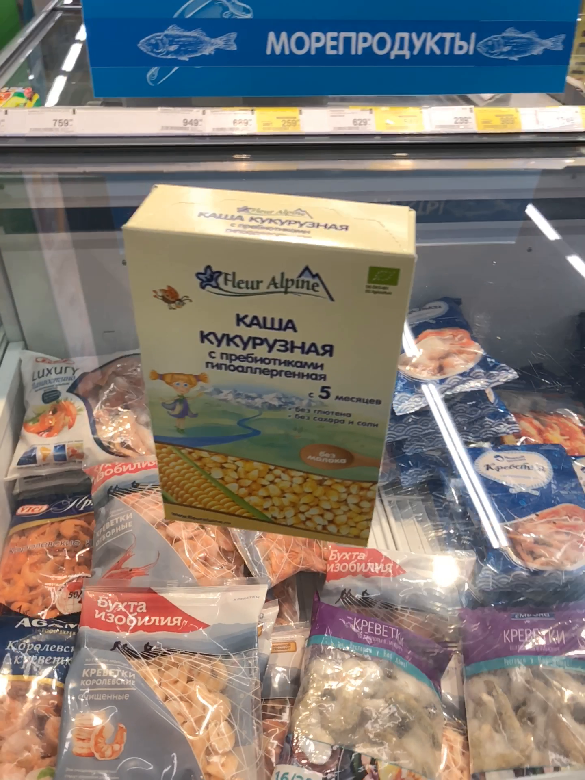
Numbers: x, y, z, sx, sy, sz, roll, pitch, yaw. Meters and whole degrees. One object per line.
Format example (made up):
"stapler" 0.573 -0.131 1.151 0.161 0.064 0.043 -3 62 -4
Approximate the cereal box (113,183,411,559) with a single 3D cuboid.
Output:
"cereal box" -0.014 0.001 0.360 0.130 0.209 0.050 6 39 5
